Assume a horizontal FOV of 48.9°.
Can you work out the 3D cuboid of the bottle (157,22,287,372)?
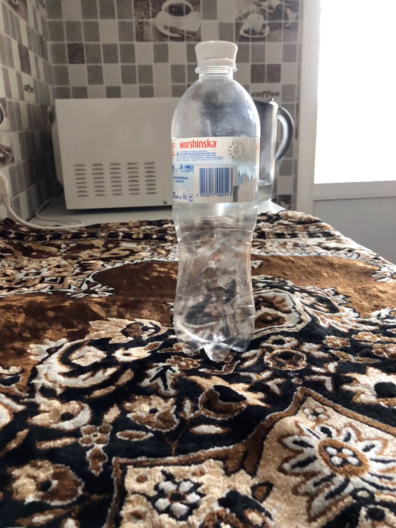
[{"bbox_3d":[0.013,-0.049,0.361,0.080,0.249,0.090,-3,15,-9],"label":"bottle"}]
